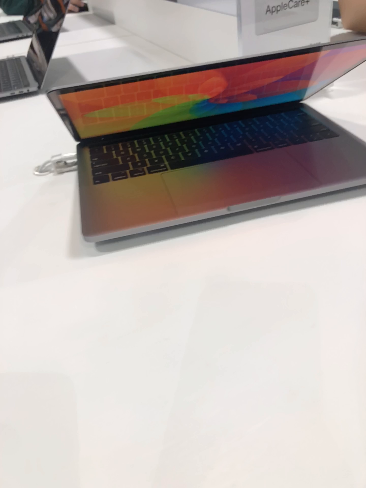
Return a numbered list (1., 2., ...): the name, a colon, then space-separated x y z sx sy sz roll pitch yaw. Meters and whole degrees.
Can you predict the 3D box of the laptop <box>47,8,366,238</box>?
1. laptop: 0.036 -0.140 0.403 0.296 0.109 0.211 -13 37 -8
